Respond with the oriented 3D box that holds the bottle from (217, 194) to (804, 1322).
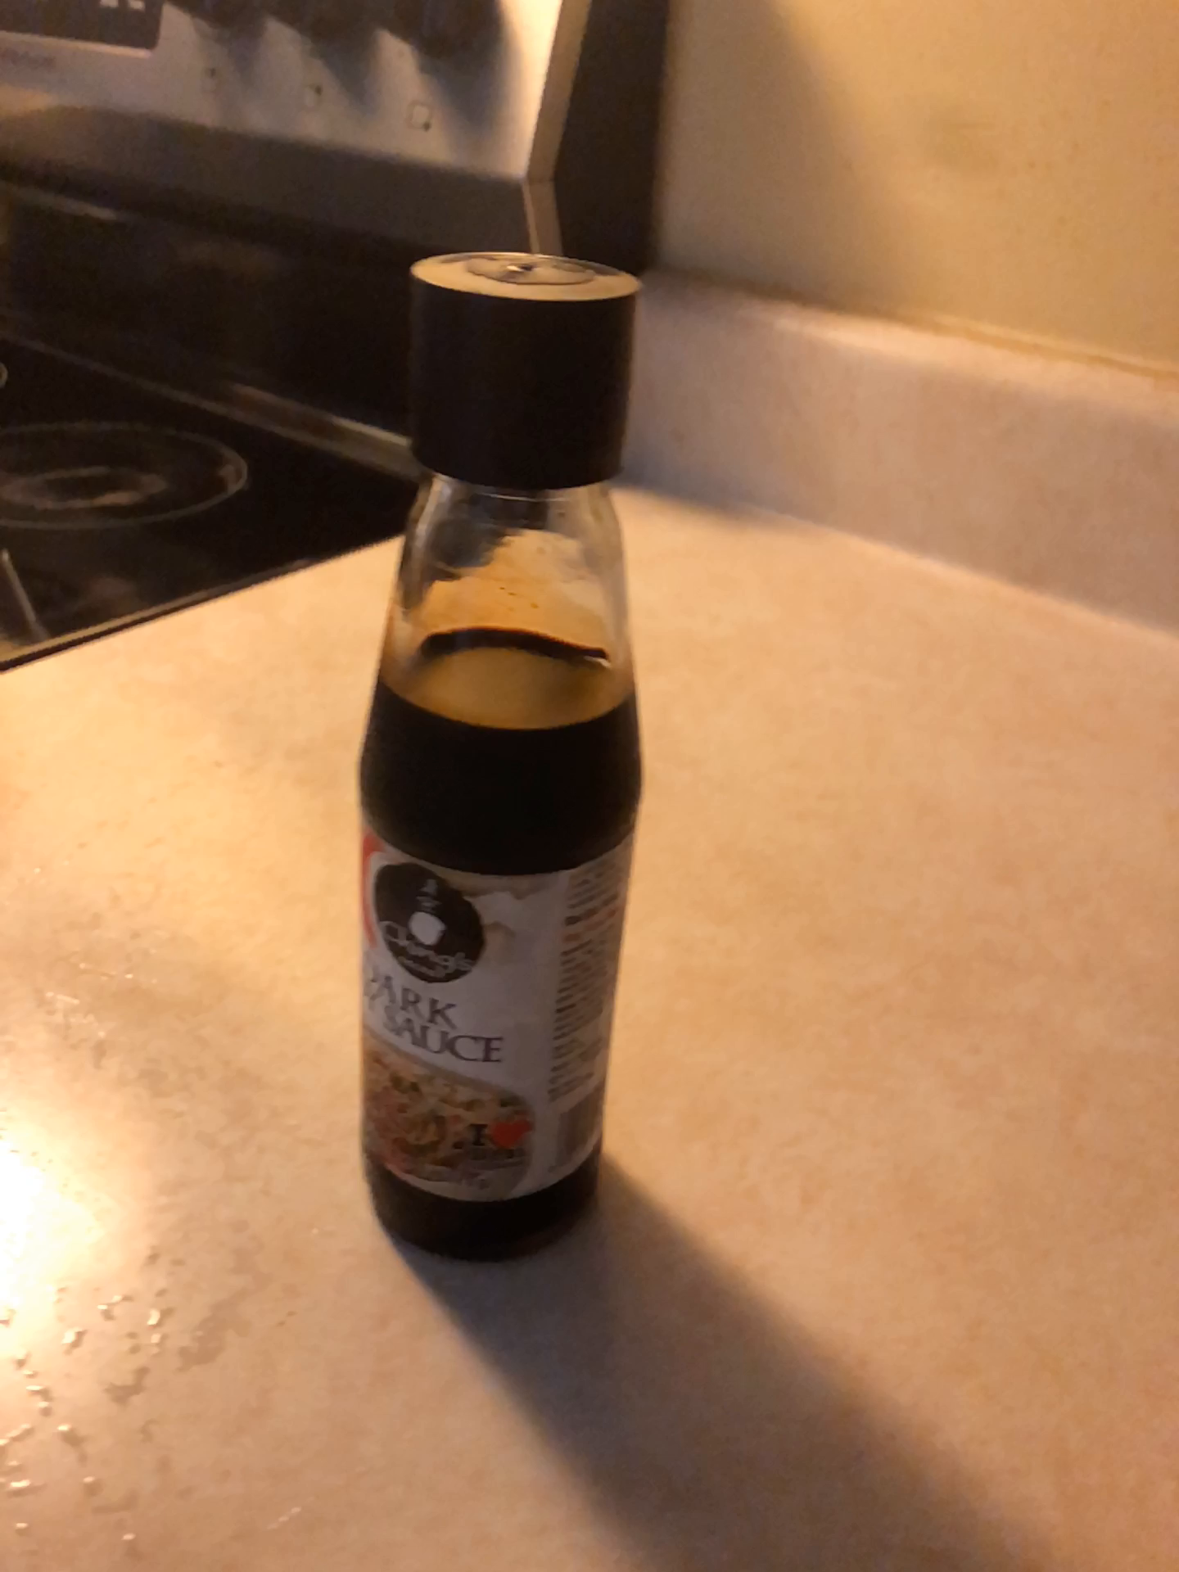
[{"bbox_3d":[-0.016,-0.001,0.232,0.060,0.179,0.060,4,30,-2],"label":"bottle"}]
